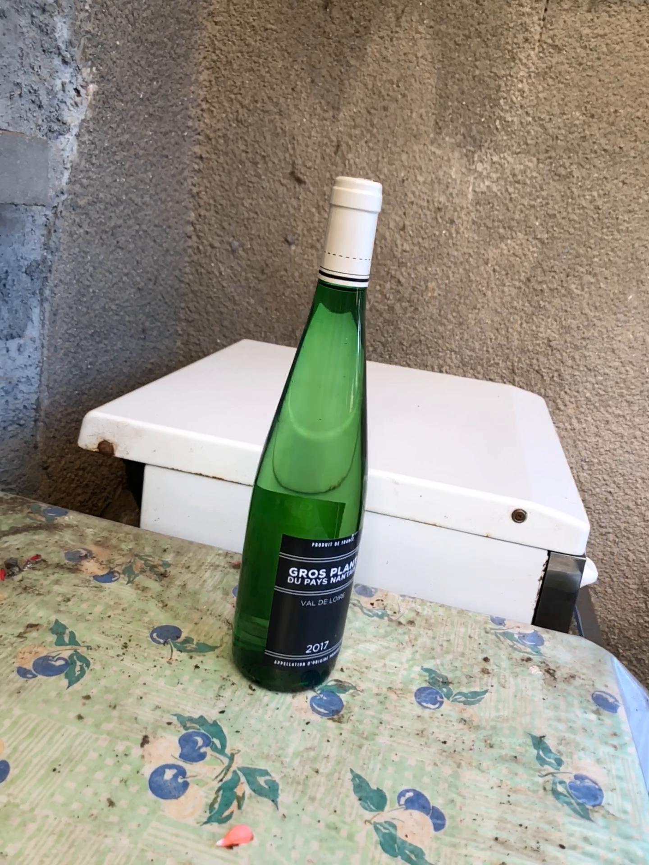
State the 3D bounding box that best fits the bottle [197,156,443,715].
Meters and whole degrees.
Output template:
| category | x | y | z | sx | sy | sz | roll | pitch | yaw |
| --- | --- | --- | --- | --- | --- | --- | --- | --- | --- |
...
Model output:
| category | x | y | z | sx | sy | sz | roll | pitch | yaw |
| --- | --- | --- | --- | --- | --- | --- | --- | --- | --- |
| bottle | -0.013 | 0.008 | 0.463 | 0.080 | 0.338 | 0.080 | 8 | 17 | -3 |
